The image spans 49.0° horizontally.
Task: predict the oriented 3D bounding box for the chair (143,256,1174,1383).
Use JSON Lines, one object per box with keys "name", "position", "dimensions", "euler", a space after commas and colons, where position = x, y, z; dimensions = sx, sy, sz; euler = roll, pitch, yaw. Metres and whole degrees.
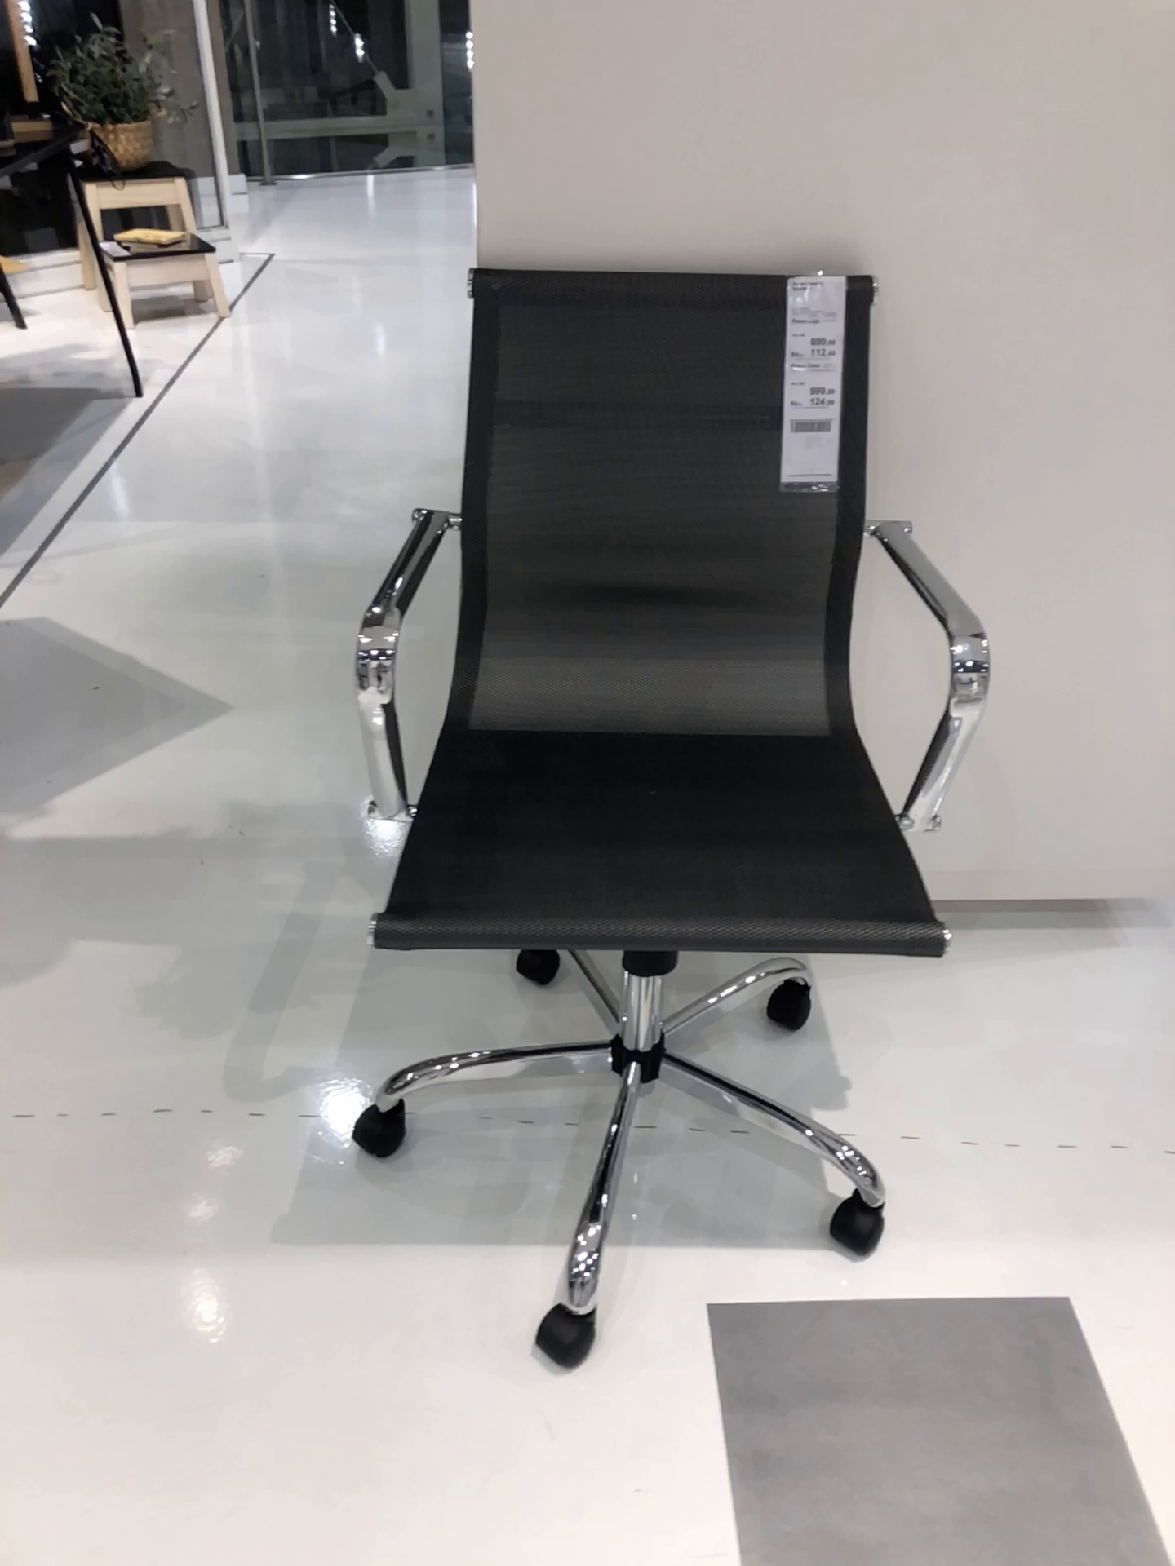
{"name": "chair", "position": [0.041, 0.027, 1.286], "dimensions": [0.620, 0.903, 0.655], "euler": [1, 33, 0]}
